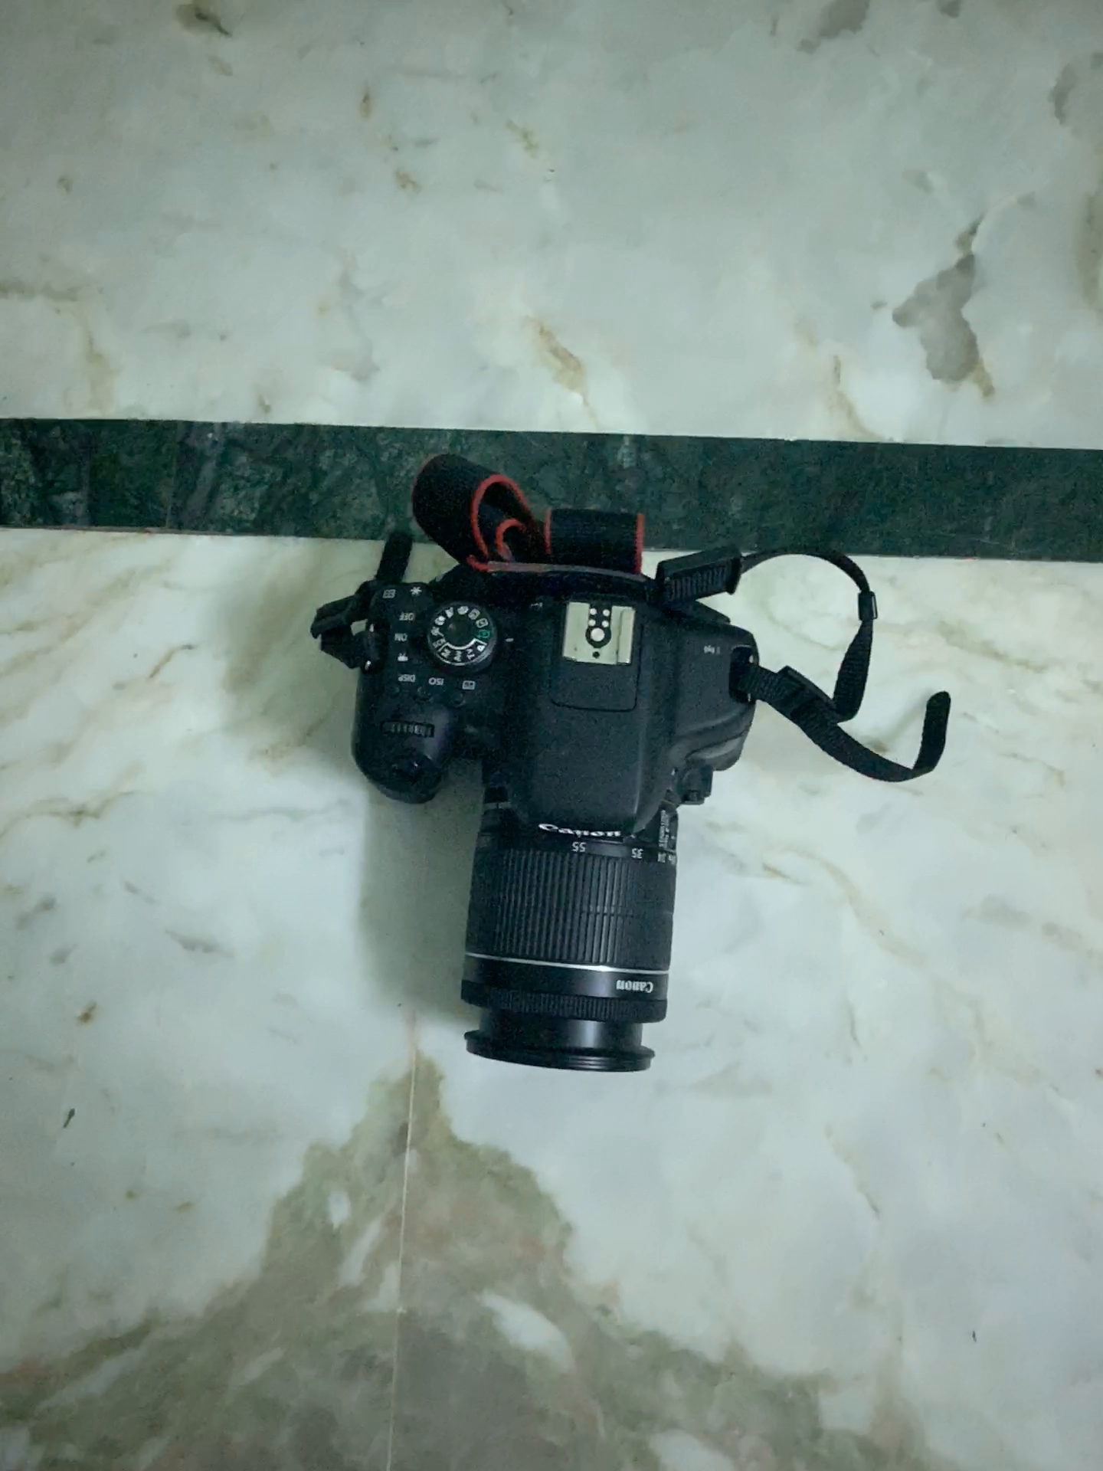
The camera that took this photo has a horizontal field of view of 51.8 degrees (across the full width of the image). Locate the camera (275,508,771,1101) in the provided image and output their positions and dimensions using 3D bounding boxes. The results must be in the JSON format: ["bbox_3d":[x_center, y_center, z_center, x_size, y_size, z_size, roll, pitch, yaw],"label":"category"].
[{"bbox_3d":[-0.004,0.025,0.368,0.128,0.100,0.160,4,78,2],"label":"camera"}]
